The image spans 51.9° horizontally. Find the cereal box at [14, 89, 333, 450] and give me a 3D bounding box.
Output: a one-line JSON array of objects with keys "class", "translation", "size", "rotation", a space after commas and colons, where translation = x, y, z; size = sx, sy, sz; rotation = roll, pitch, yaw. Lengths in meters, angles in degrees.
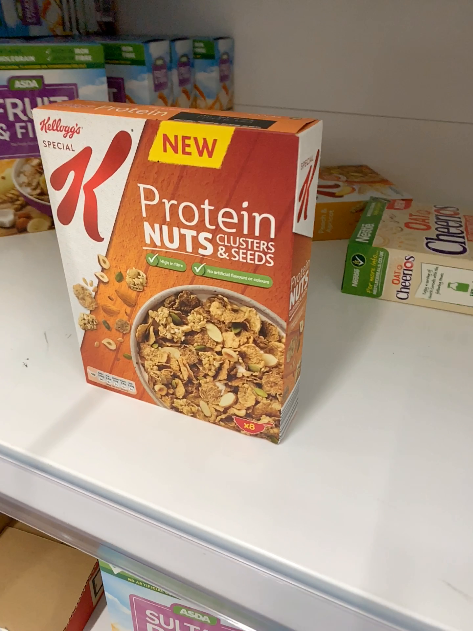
[{"class": "cereal box", "translation": [-0.045, -0.036, 0.380], "size": [0.200, 0.238, 0.071], "rotation": [13, 33, 21]}]
